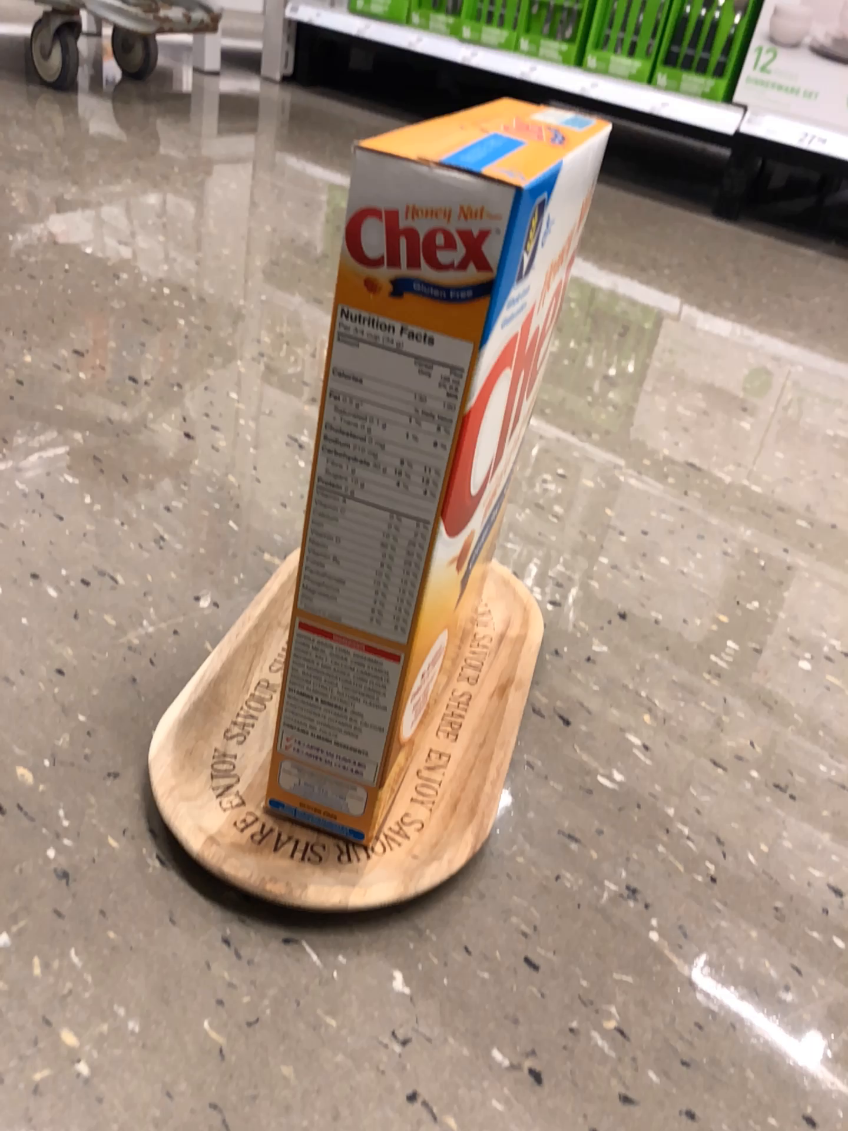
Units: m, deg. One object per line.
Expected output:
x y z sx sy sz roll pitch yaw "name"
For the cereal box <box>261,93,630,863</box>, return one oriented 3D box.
0.011 -0.047 0.422 0.060 0.279 0.211 18 33 9 "cereal box"
